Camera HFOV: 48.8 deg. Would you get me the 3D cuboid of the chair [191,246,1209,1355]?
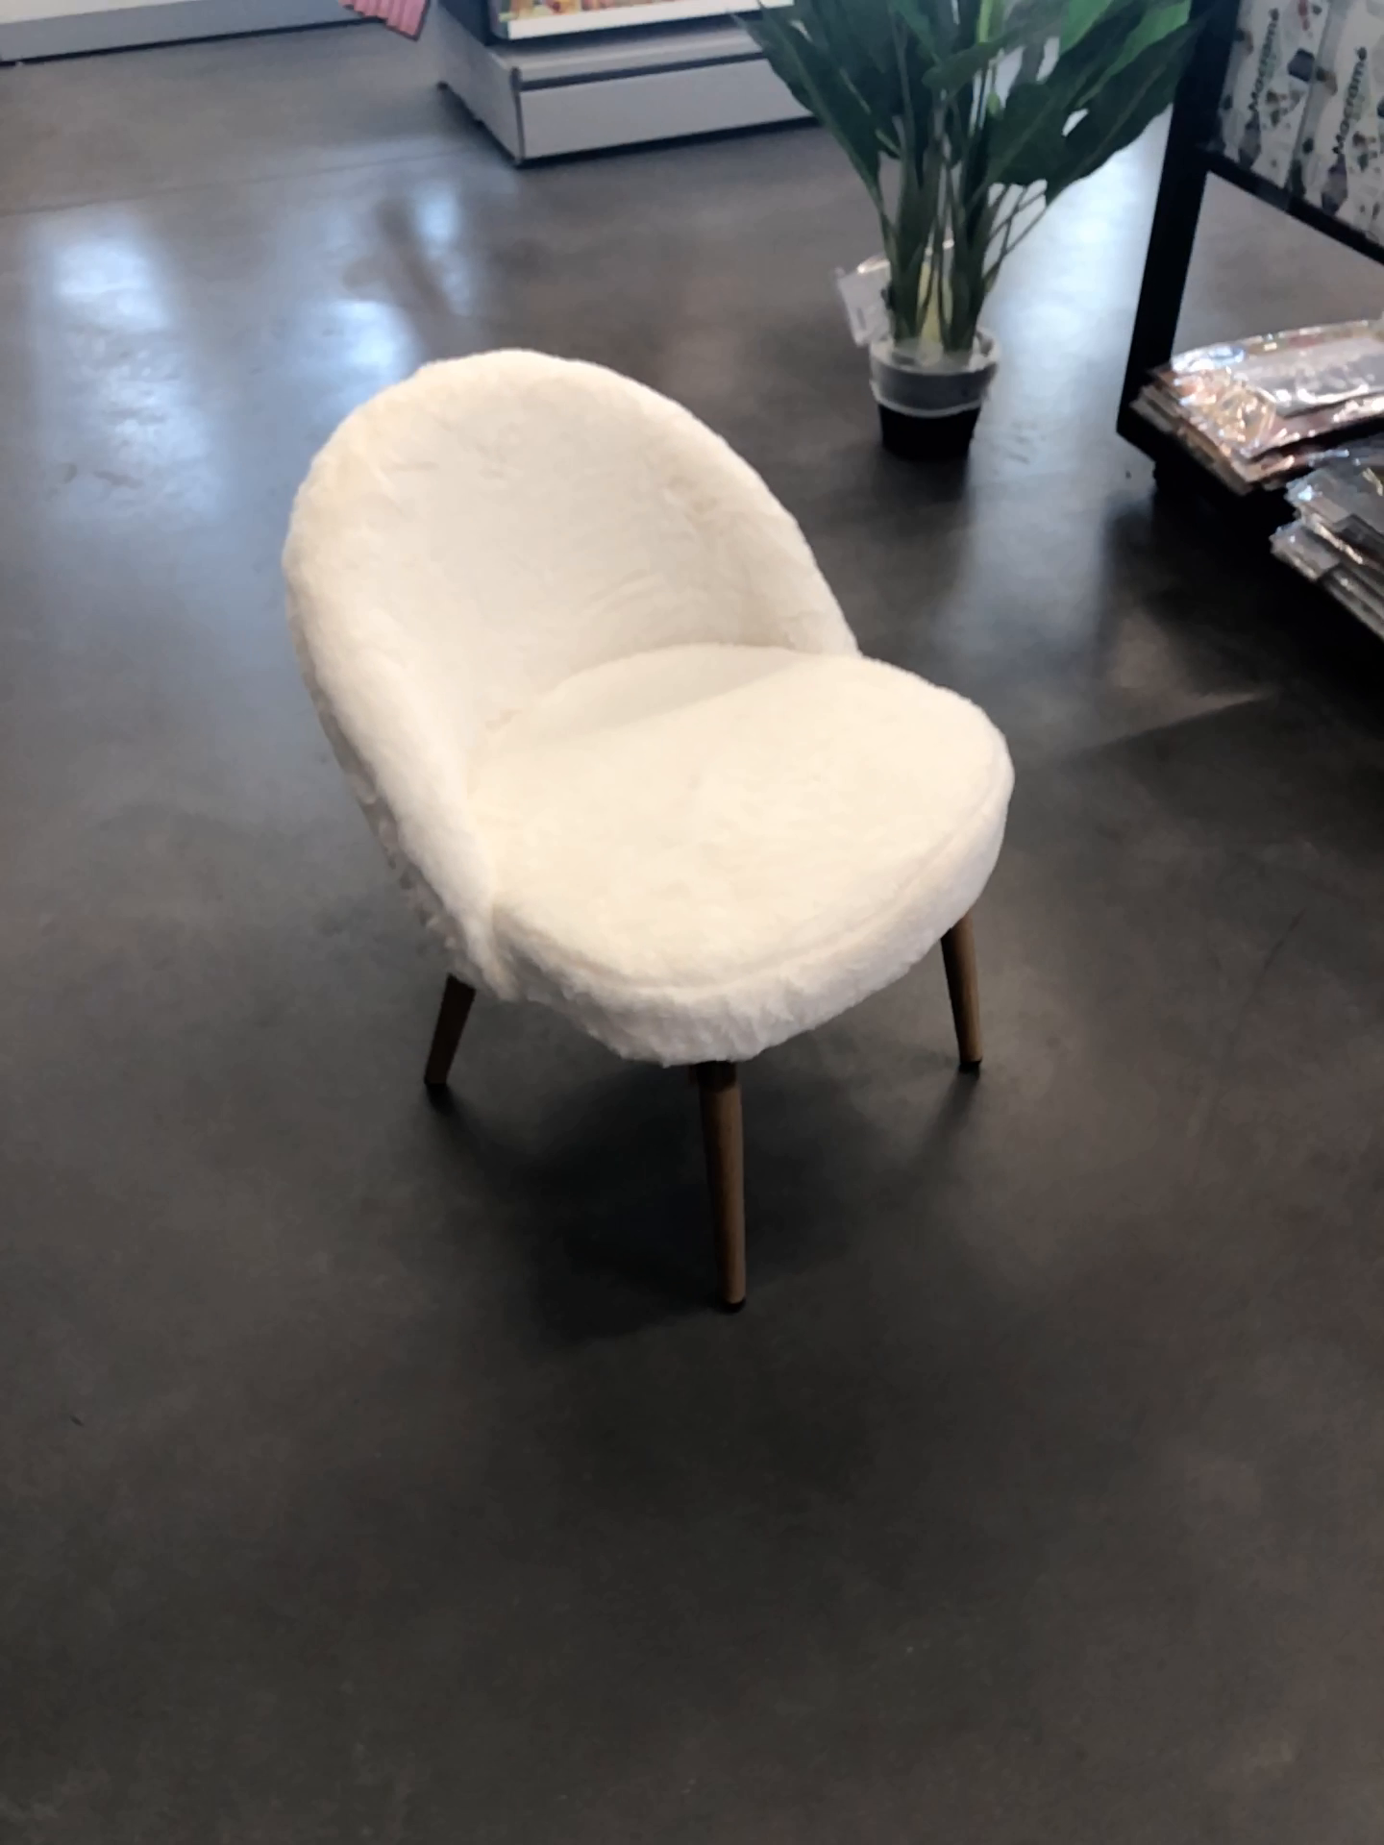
[{"bbox_3d":[0.002,-0.111,1.108,0.470,0.537,0.412,33,51,32],"label":"chair"}]
